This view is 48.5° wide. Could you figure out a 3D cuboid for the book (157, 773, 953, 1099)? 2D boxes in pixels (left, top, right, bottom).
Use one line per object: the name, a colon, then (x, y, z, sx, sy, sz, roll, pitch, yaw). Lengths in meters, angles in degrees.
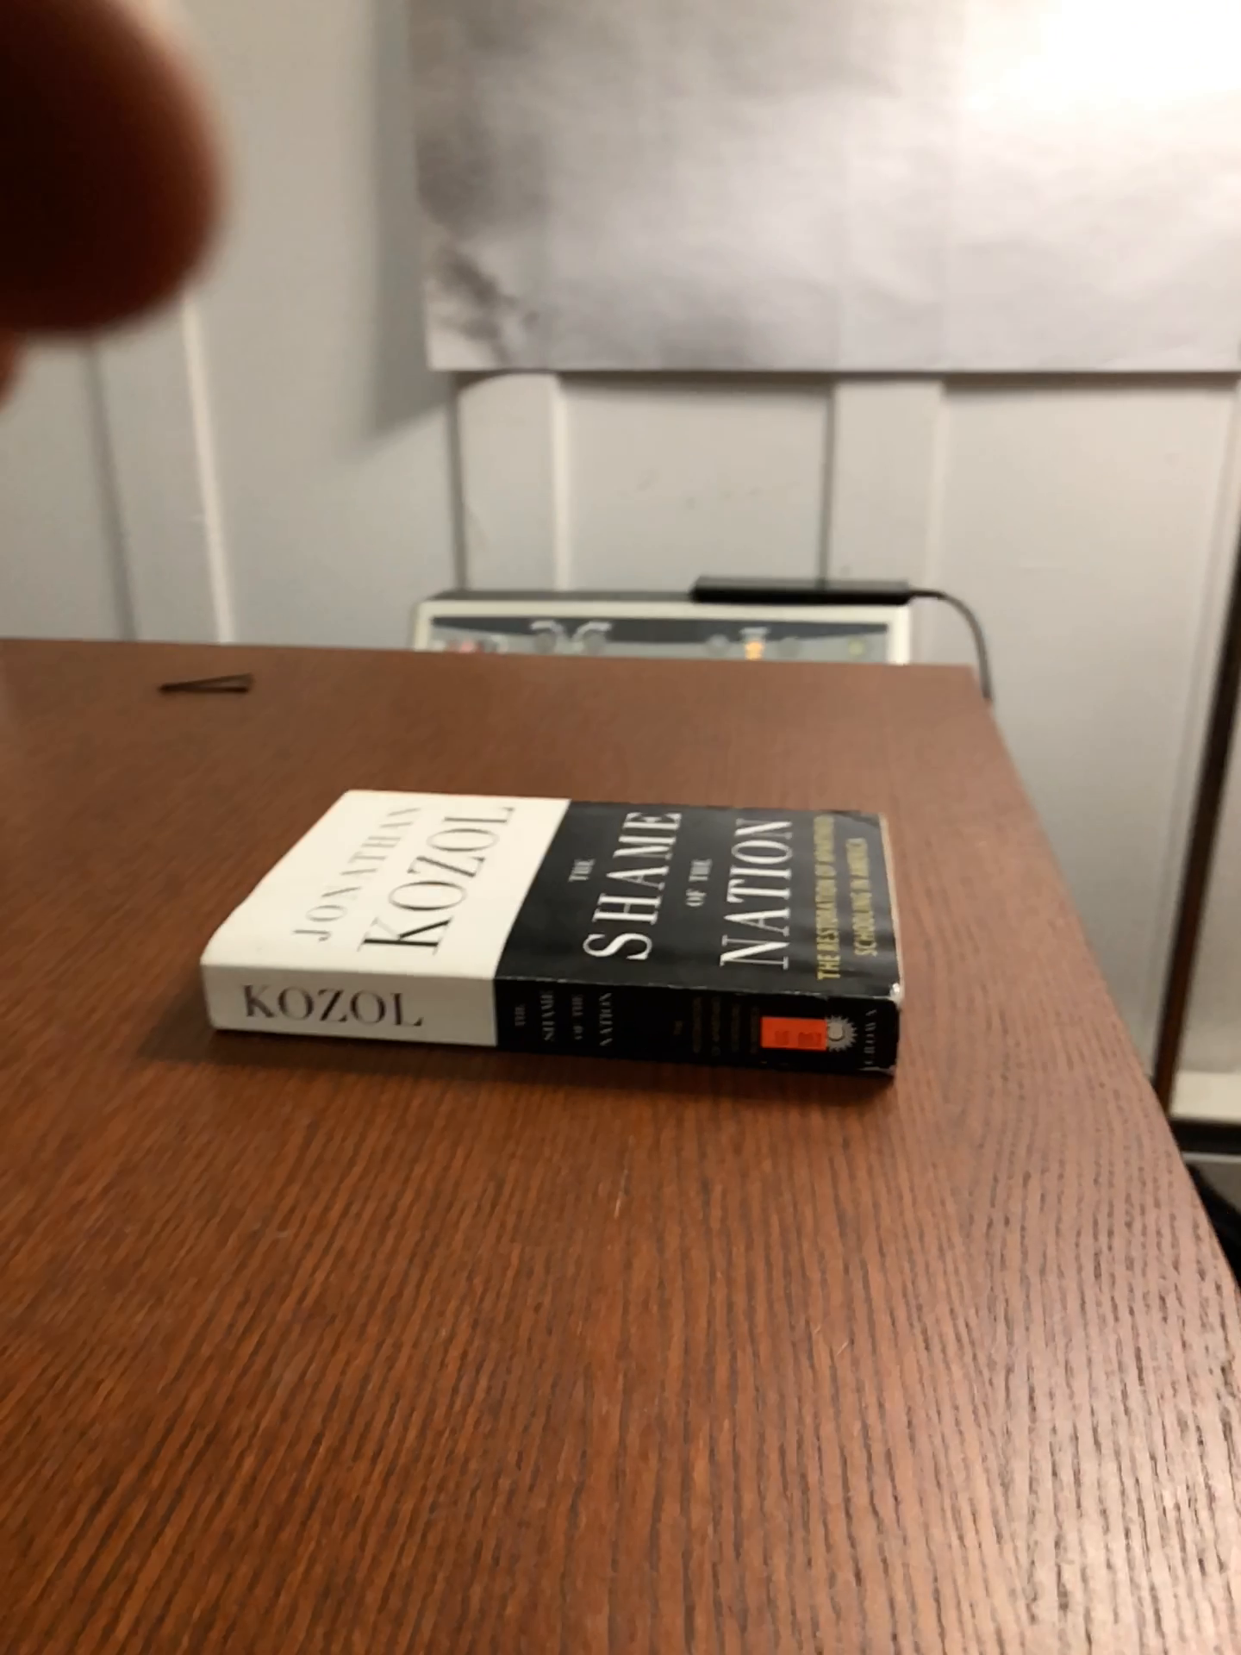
book: (-0.012, 0.027, 0.472, 0.230, 0.030, 0.161, 3, 22, 7)
